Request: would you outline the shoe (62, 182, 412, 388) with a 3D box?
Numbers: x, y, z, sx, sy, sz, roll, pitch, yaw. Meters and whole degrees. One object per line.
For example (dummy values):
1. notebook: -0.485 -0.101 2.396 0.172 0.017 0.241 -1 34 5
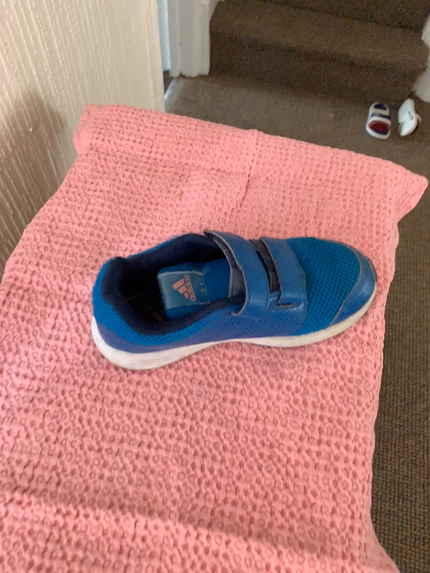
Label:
1. shoe: 0.010 -0.002 0.311 0.207 0.075 0.085 -10 59 -8
